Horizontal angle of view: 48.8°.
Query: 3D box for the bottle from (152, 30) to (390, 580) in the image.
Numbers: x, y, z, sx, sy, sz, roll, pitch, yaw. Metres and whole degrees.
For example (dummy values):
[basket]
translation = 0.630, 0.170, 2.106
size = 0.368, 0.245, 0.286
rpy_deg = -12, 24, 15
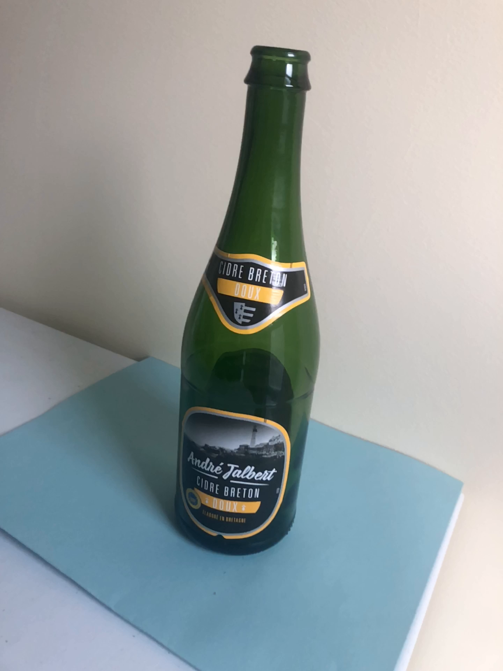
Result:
[bottle]
translation = 0.004, -0.006, 0.311
size = 0.090, 0.278, 0.081
rpy_deg = 11, 26, 11
